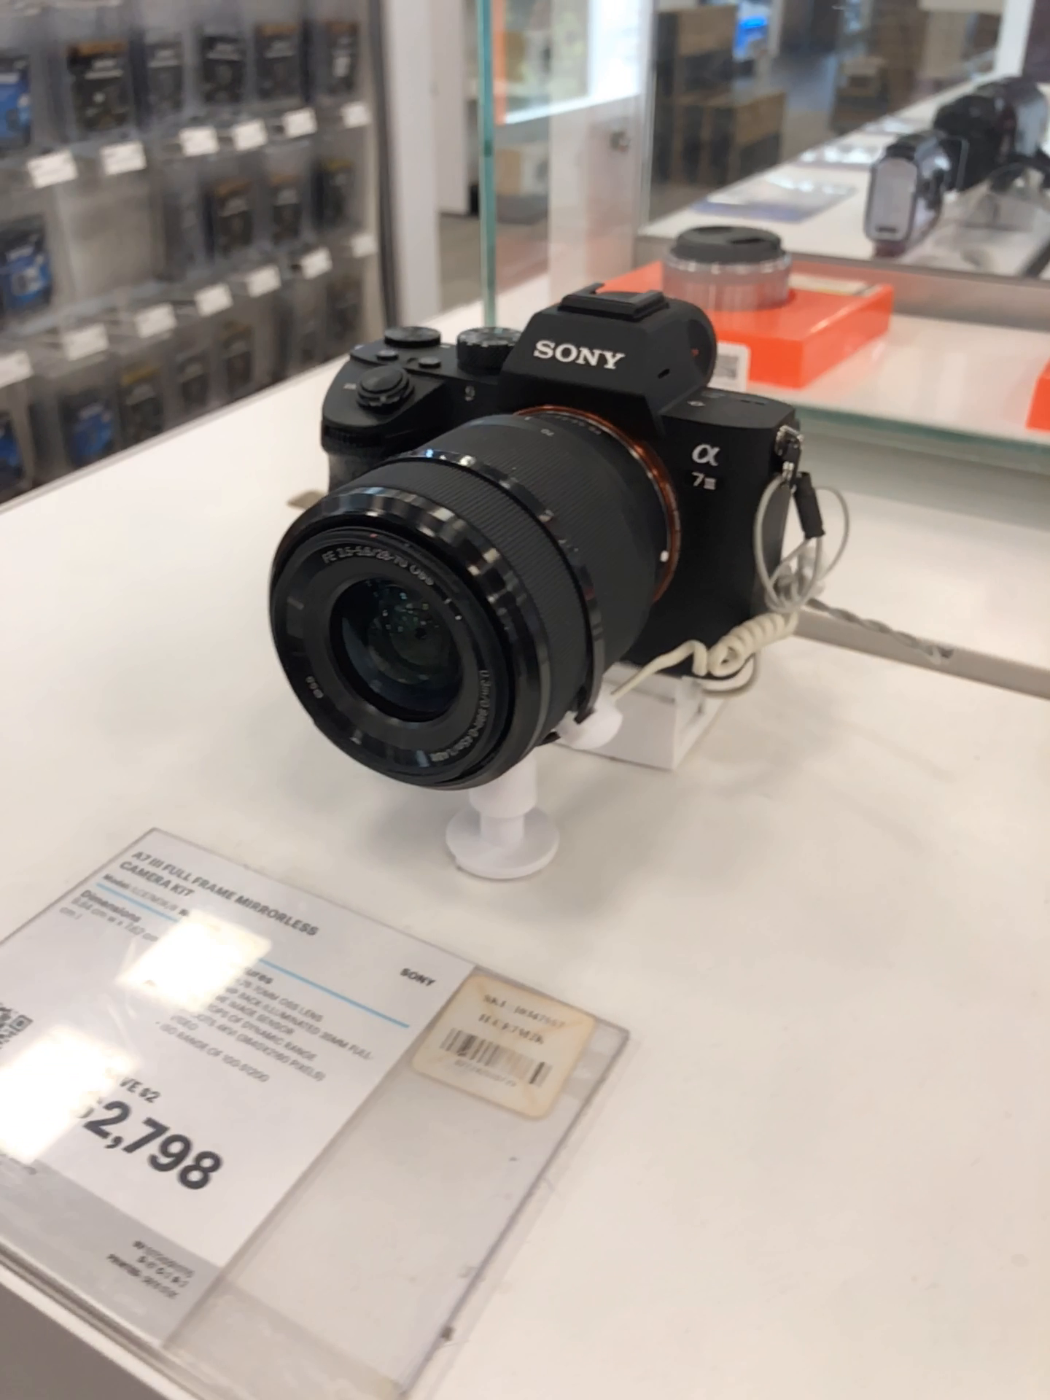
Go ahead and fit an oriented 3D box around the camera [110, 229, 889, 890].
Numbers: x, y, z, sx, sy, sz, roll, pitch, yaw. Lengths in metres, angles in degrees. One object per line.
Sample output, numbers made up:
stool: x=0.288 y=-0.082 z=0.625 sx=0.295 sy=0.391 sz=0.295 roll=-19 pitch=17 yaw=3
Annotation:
camera: x=0.004 y=-0.055 z=0.320 sx=0.130 sy=0.100 sz=0.160 roll=17 pitch=36 yaw=25
